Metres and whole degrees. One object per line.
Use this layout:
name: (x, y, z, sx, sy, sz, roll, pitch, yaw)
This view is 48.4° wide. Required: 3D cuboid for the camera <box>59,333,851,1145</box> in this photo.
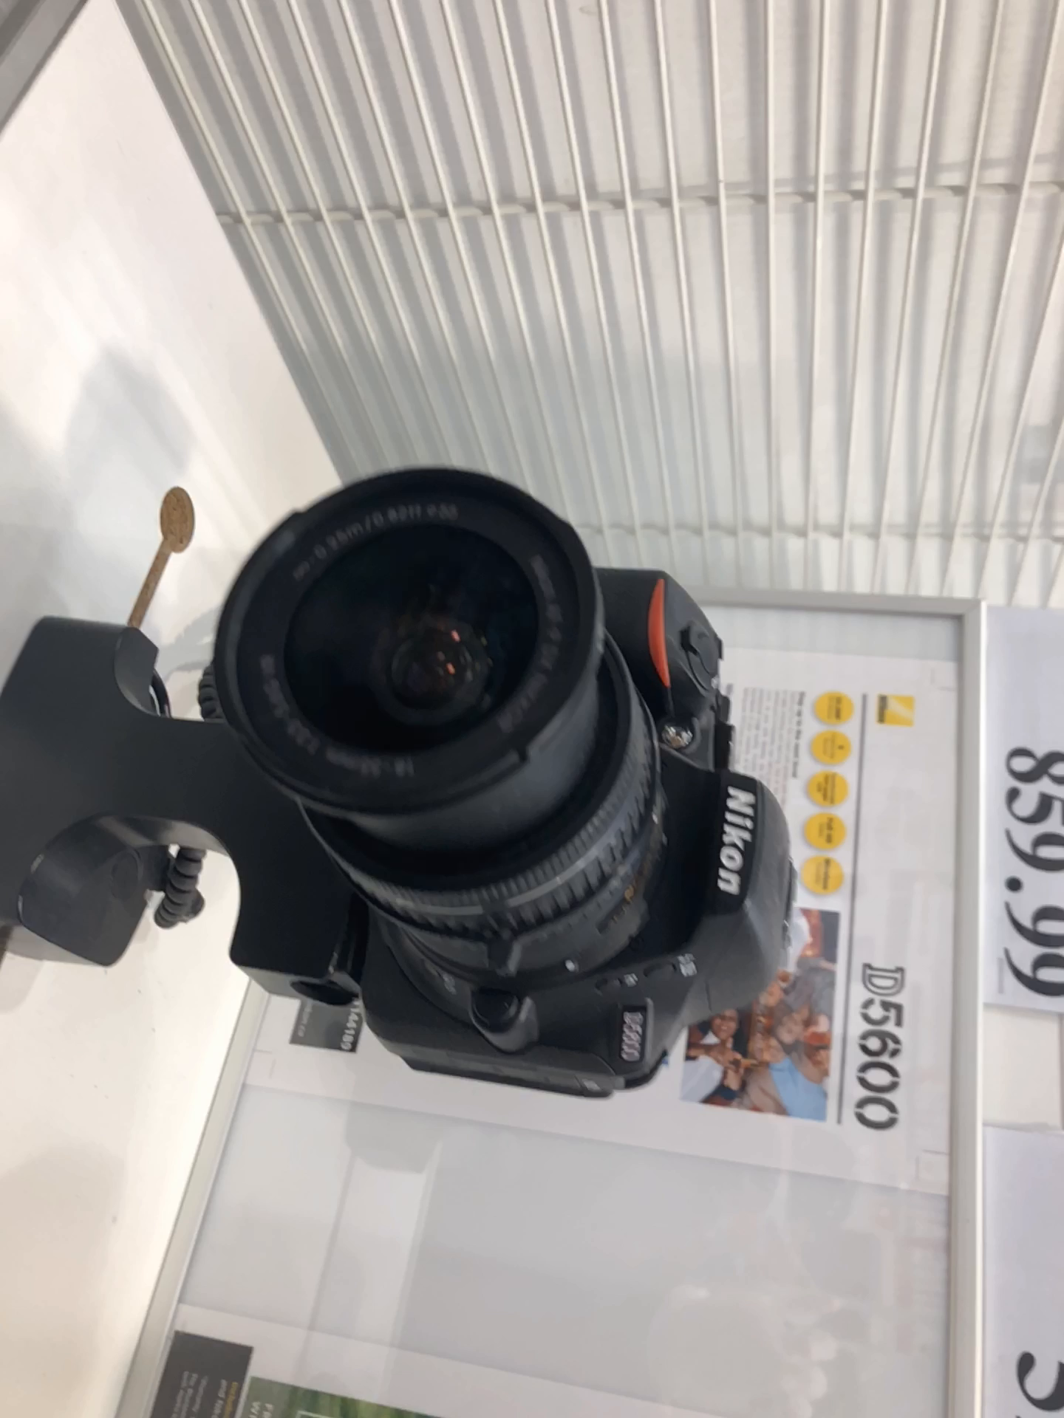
camera: (0.006, 0.020, 0.262, 0.160, 0.110, 0.120, 66, 30, -64)
